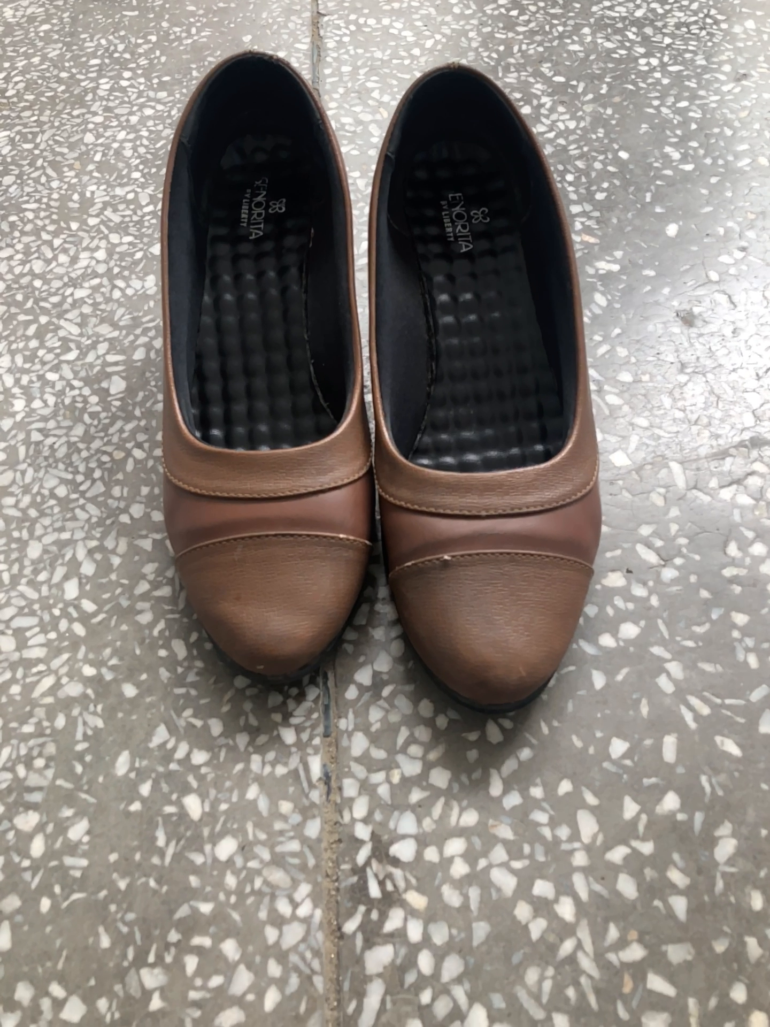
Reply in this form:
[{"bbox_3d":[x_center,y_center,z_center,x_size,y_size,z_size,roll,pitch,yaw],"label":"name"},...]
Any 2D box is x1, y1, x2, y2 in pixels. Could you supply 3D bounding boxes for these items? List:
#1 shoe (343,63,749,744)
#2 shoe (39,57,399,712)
[{"bbox_3d":[0.038,-0.052,0.315,0.092,0.096,0.241,-4,56,0],"label":"shoe"},{"bbox_3d":[-0.046,-0.061,0.327,0.090,0.096,0.245,-3,56,1],"label":"shoe"}]
